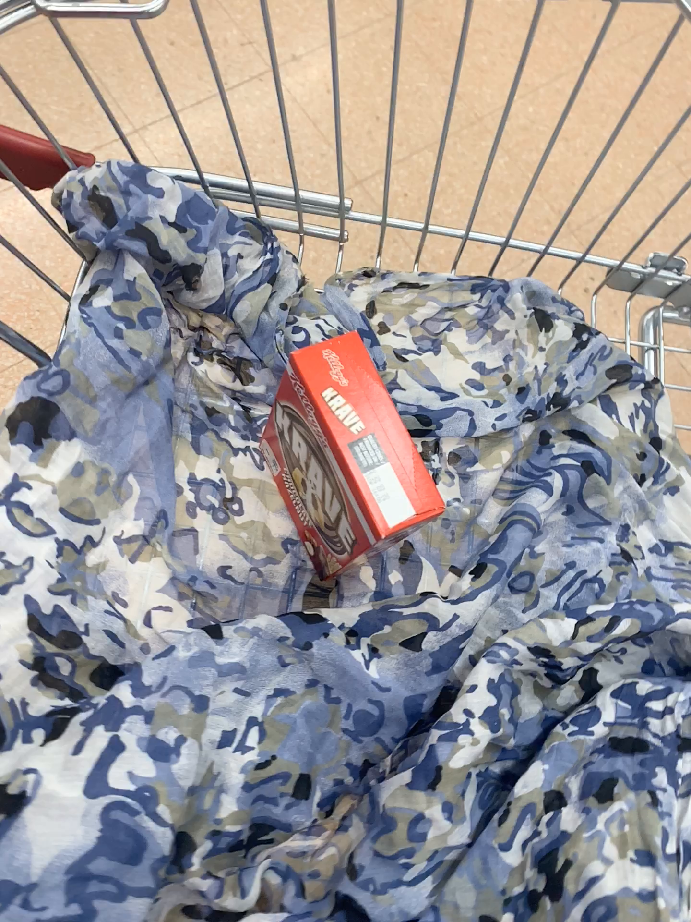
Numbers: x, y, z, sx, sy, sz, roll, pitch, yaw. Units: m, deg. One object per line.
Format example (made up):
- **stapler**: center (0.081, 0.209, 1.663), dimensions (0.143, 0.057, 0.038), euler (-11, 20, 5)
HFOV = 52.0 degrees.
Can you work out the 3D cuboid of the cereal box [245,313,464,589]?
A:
- **cereal box**: center (-0.006, 0.006, 0.355), dimensions (0.040, 0.149, 0.090), euler (-23, 80, -19)
